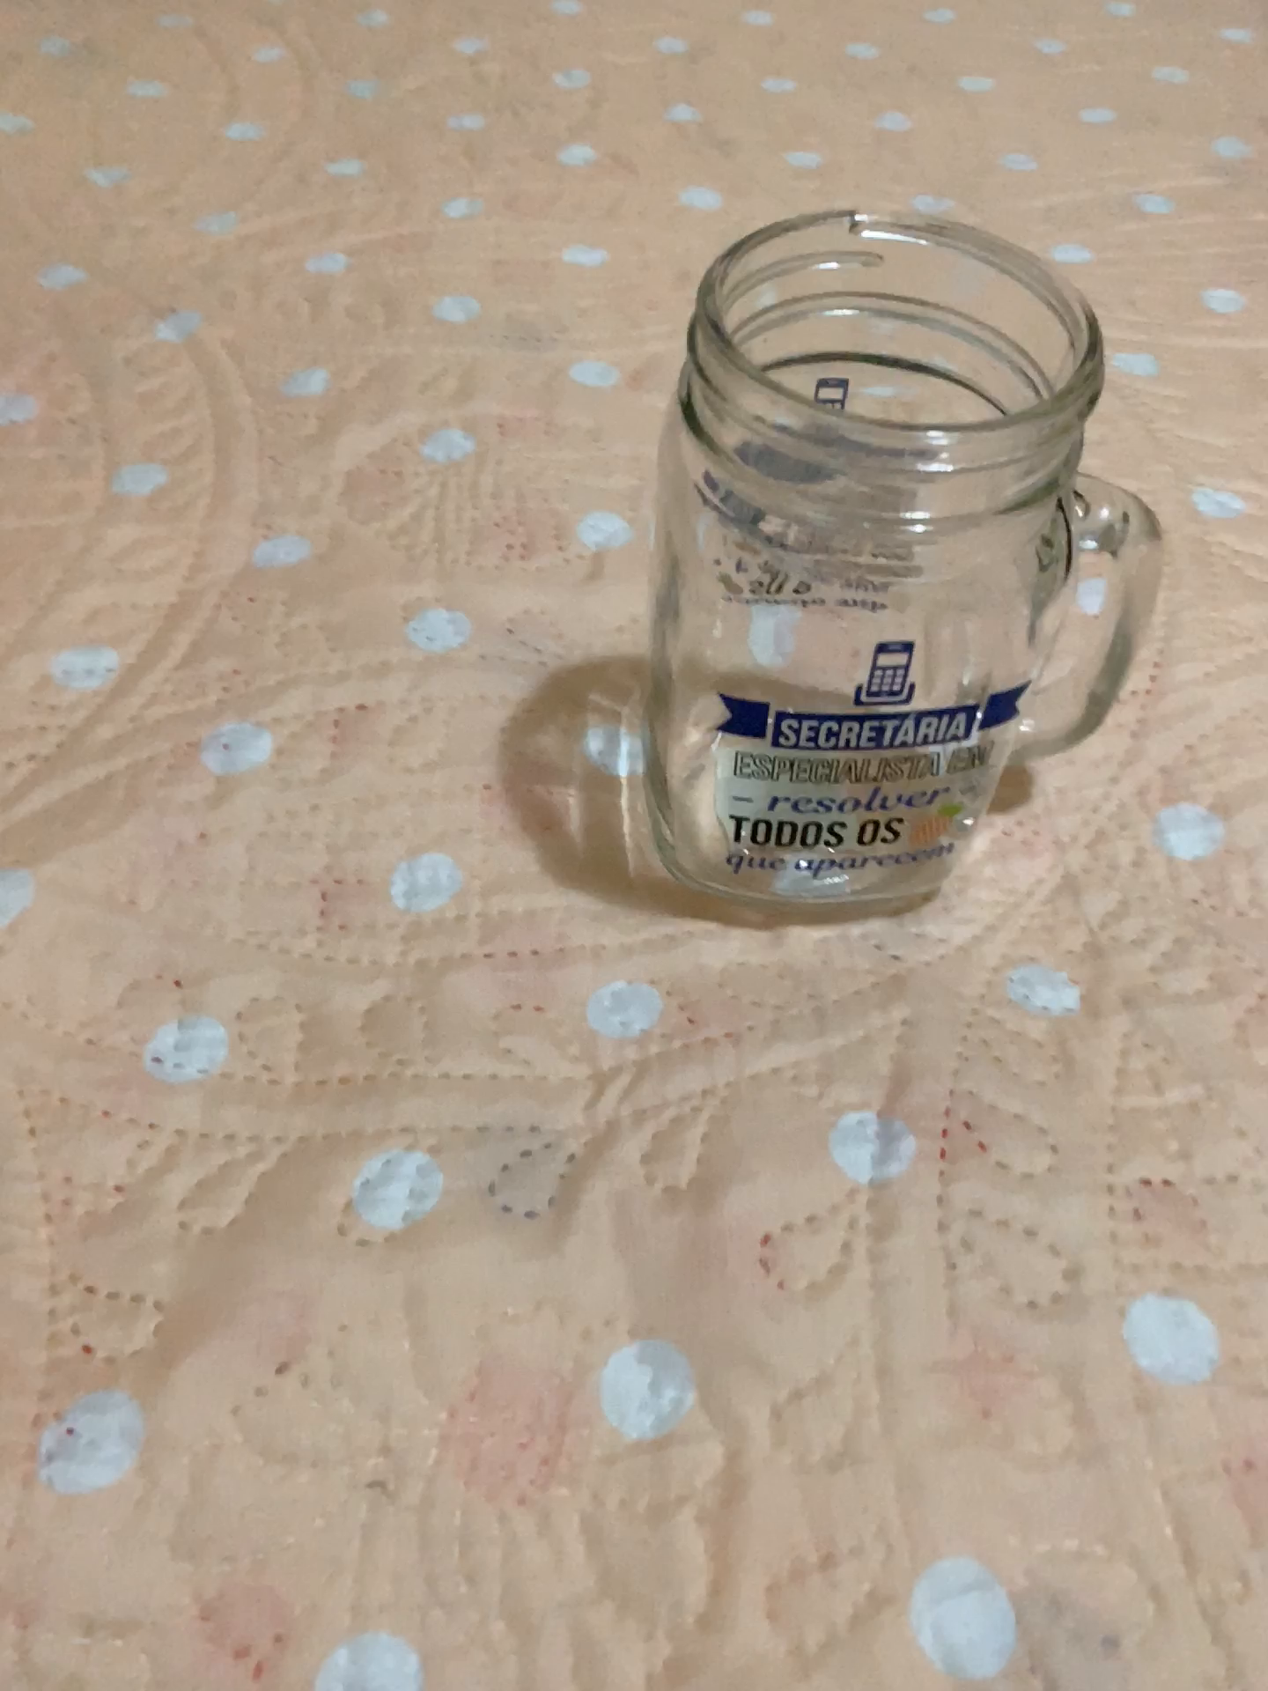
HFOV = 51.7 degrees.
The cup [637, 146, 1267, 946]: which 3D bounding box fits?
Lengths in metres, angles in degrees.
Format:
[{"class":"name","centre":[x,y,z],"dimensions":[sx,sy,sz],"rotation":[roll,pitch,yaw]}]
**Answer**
[{"class":"cup","centre":[0.053,-0.050,0.247],"dimensions":[0.100,0.119,0.080],"rotation":[2,50,0]}]
